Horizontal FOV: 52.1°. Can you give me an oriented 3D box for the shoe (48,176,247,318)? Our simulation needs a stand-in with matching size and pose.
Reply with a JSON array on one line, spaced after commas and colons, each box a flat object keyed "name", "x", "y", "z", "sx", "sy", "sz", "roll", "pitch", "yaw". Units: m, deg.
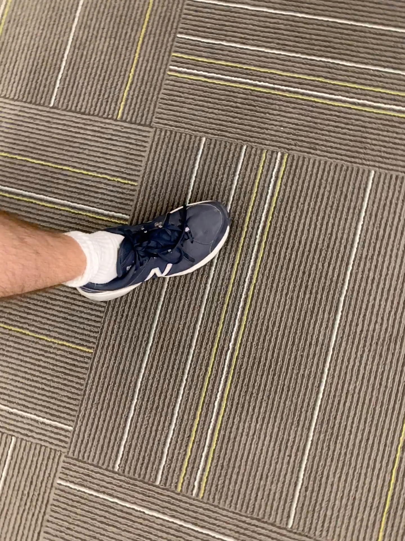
[{"name": "shoe", "x": -0.093, "y": -0.034, "z": 0.720, "sx": 0.310, "sy": 0.070, "sz": 0.130, "roll": -22, "pitch": 82, "yaw": 5}]
